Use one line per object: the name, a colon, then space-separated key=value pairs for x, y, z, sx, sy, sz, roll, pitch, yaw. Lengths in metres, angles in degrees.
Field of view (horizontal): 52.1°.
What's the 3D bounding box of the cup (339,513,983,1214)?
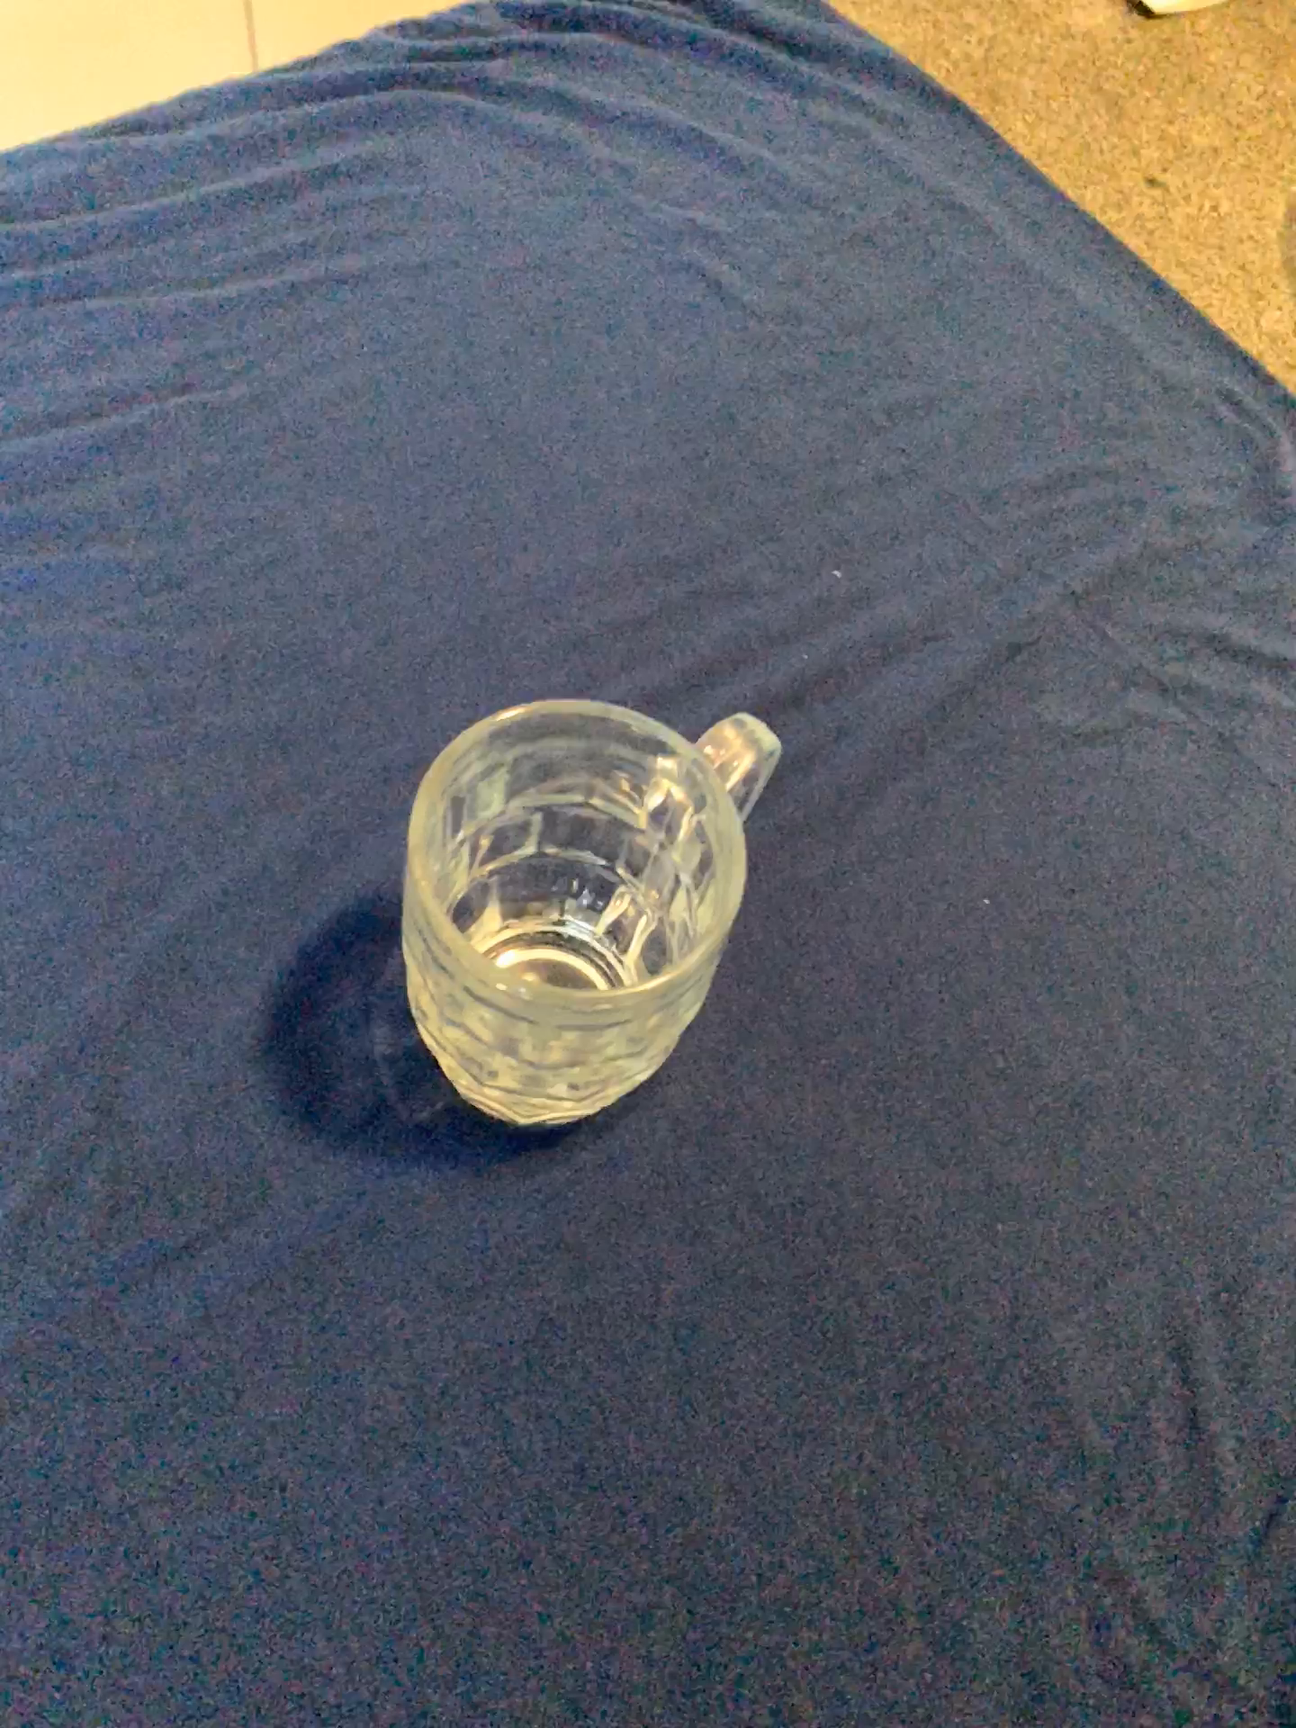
cup: x=-0.001 y=0.003 z=0.332 sx=0.080 sy=0.110 sz=0.120 roll=42 pitch=63 yaw=13
